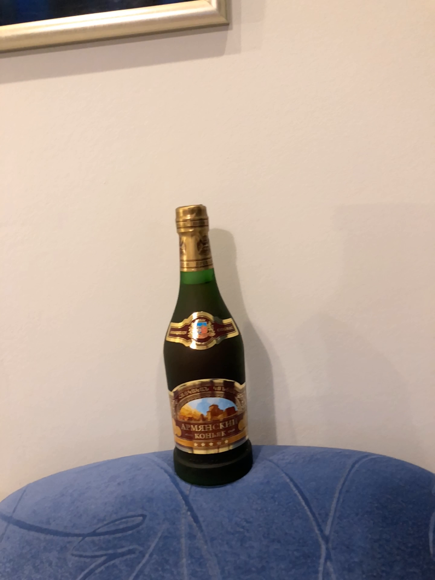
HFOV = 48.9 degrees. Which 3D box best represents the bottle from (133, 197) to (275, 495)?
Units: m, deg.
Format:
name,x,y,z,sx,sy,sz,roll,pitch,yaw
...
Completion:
name,x,y,z,sx,sy,sz,roll,pitch,yaw
bottle,-0.010,0.045,0.432,0.090,0.243,0.080,-6,9,-1
